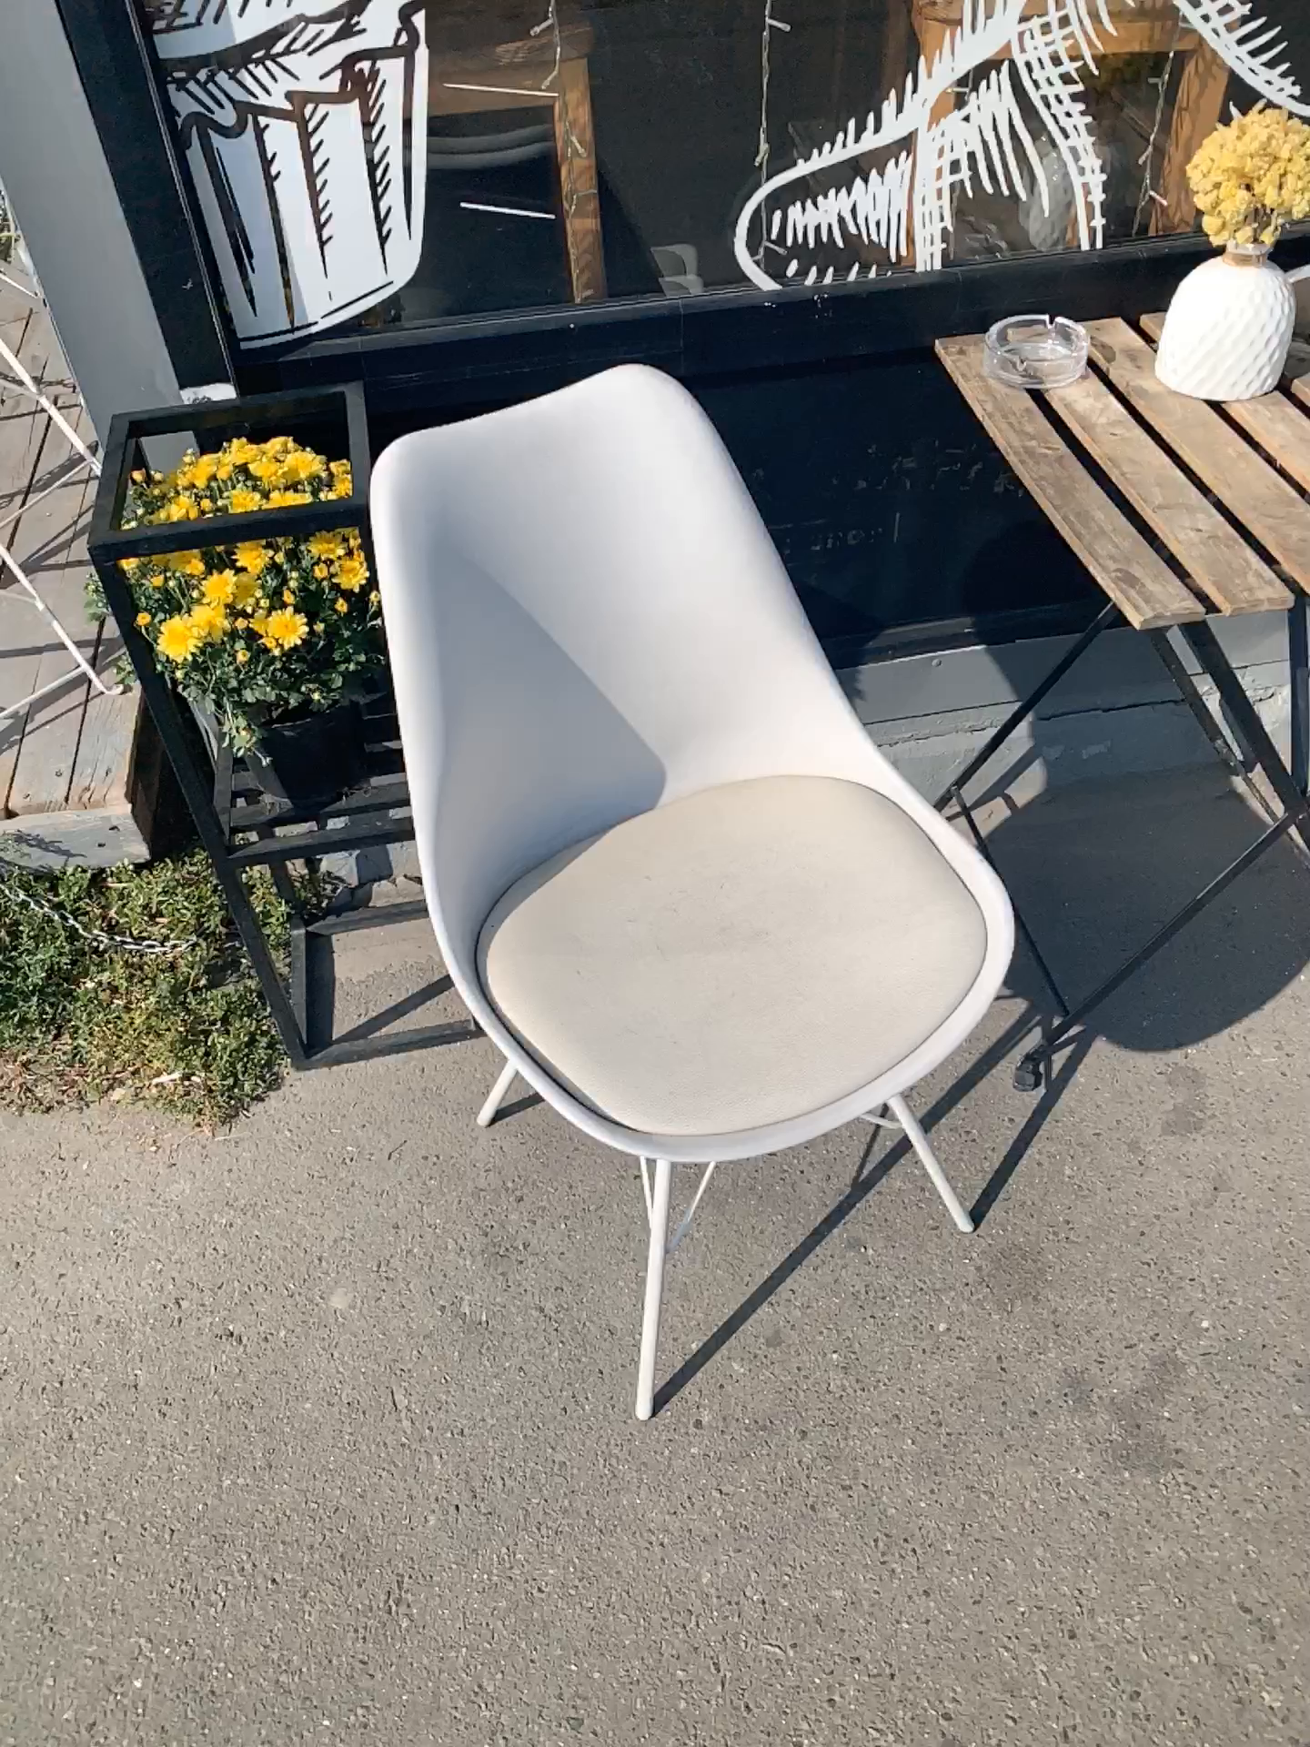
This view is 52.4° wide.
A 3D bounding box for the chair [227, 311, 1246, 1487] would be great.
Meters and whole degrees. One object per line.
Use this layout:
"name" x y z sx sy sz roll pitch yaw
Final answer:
"chair" 0.044 0.038 1.190 0.480 0.777 0.532 -26 50 -20
